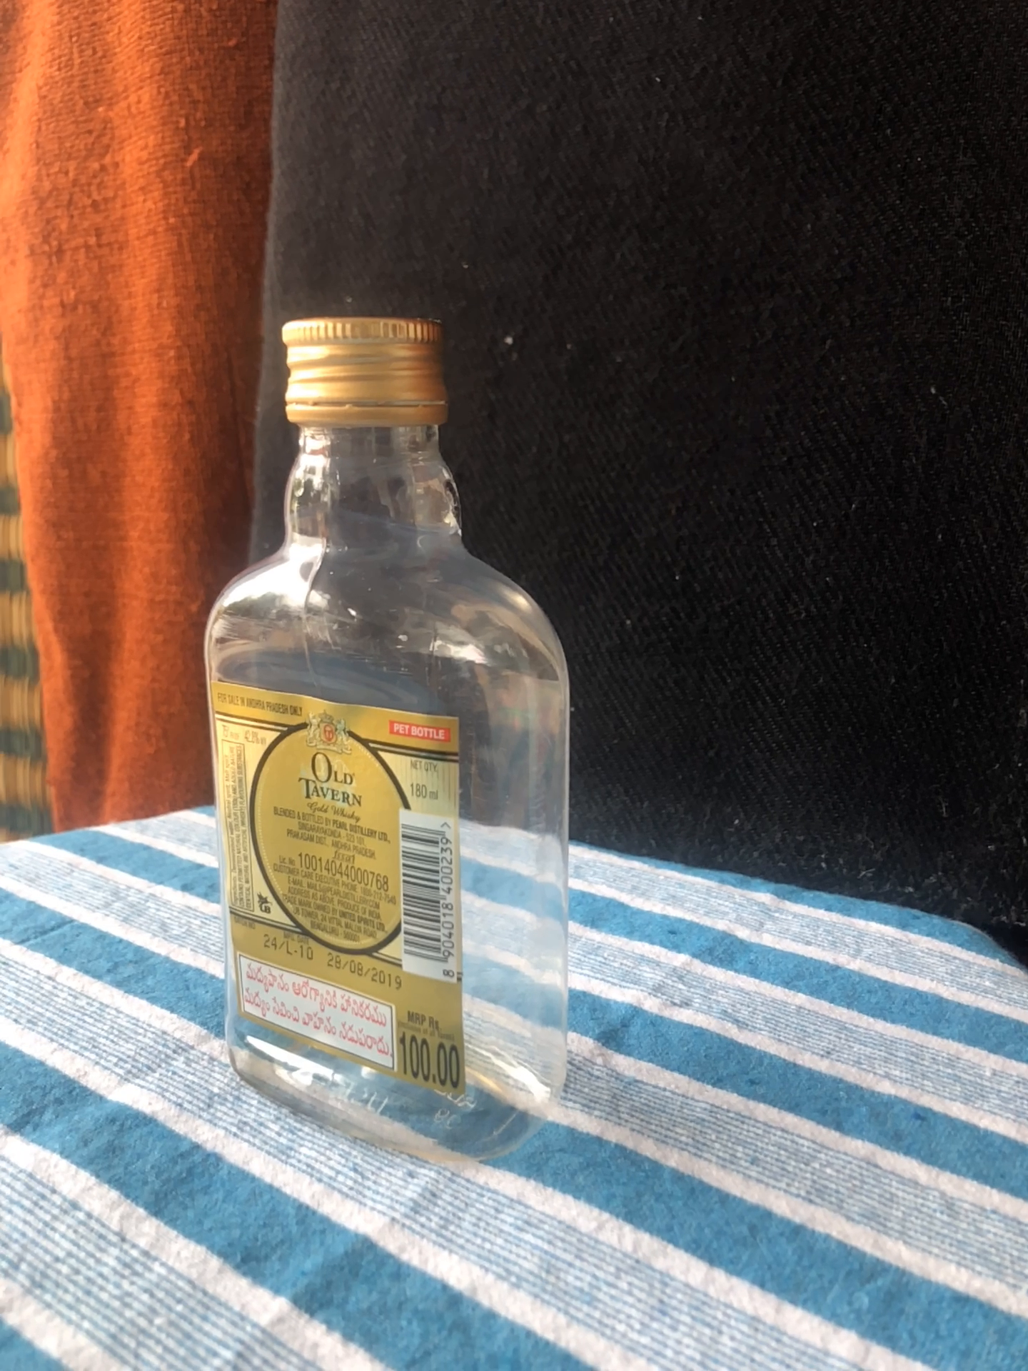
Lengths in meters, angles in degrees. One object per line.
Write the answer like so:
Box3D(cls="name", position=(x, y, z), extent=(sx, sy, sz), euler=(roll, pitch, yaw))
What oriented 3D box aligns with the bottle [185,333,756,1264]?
Box3D(cls="bottle", position=(-0.008, 0.013, 0.198), extent=(0.080, 0.139, 0.040), euler=(10, 19, 31))
